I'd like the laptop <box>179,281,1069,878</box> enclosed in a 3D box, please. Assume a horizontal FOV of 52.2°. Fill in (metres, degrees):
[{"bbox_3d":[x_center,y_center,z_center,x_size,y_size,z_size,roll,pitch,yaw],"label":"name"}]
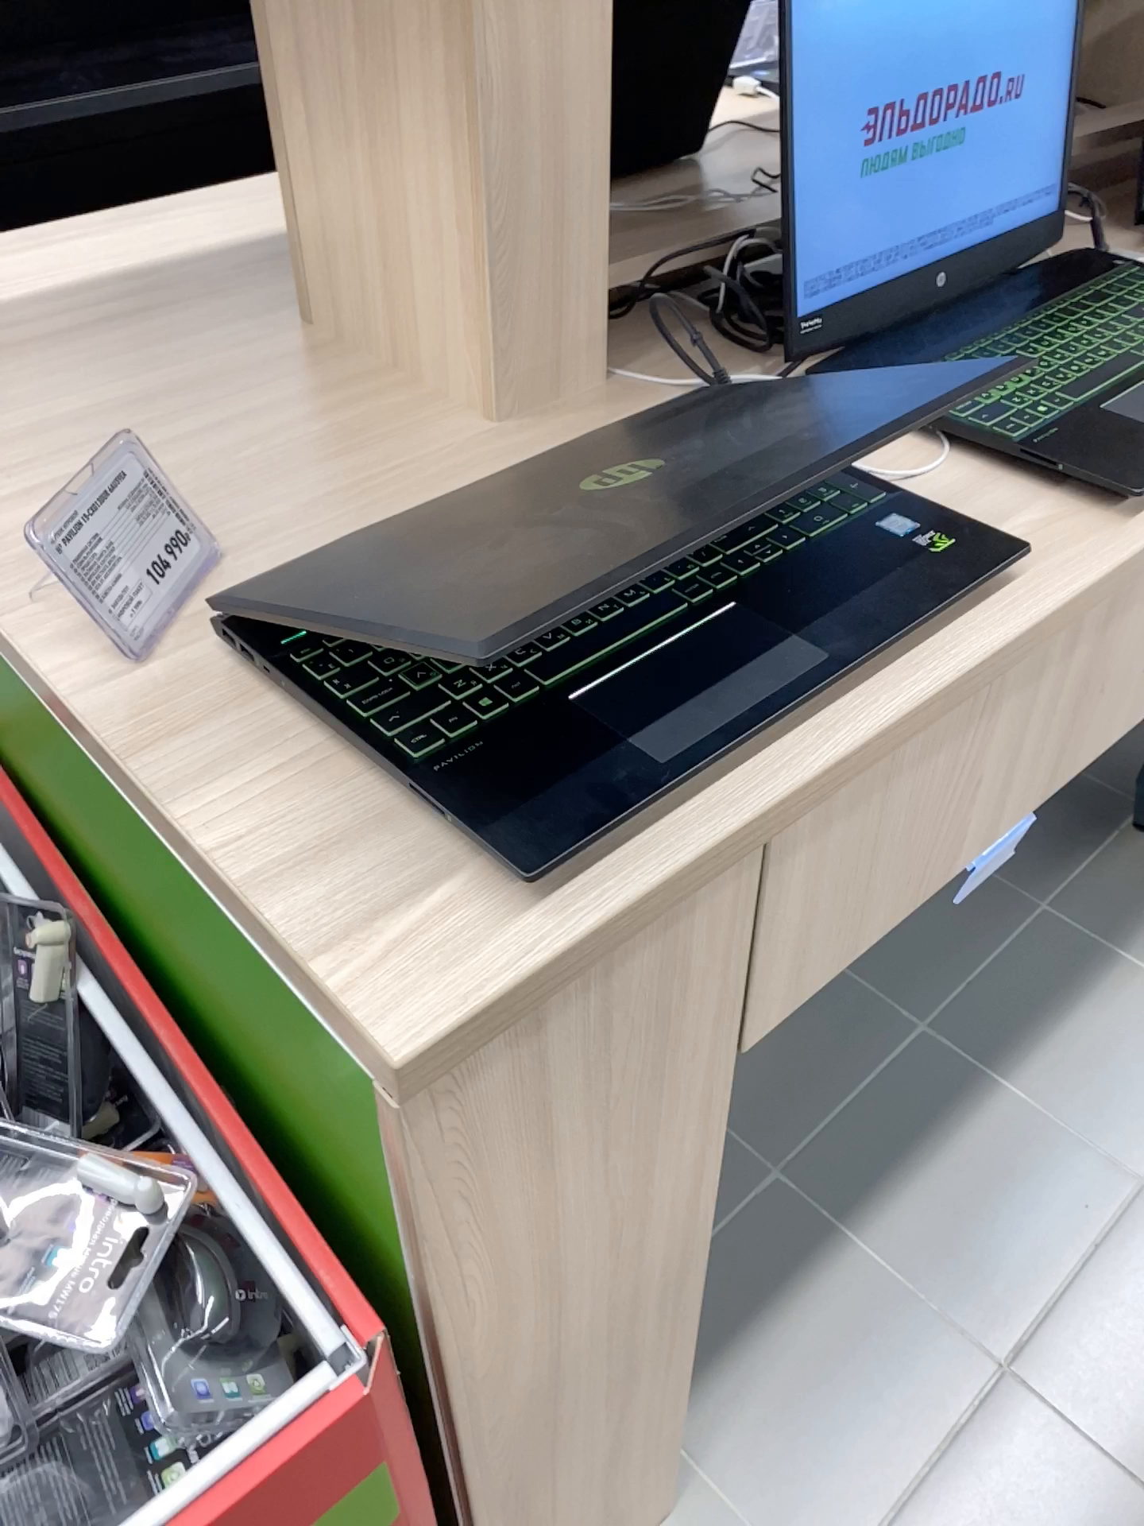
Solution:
[{"bbox_3d":[0.036,-0.127,0.592,0.366,0.086,0.241,-30,50,-31],"label":"laptop"}]
